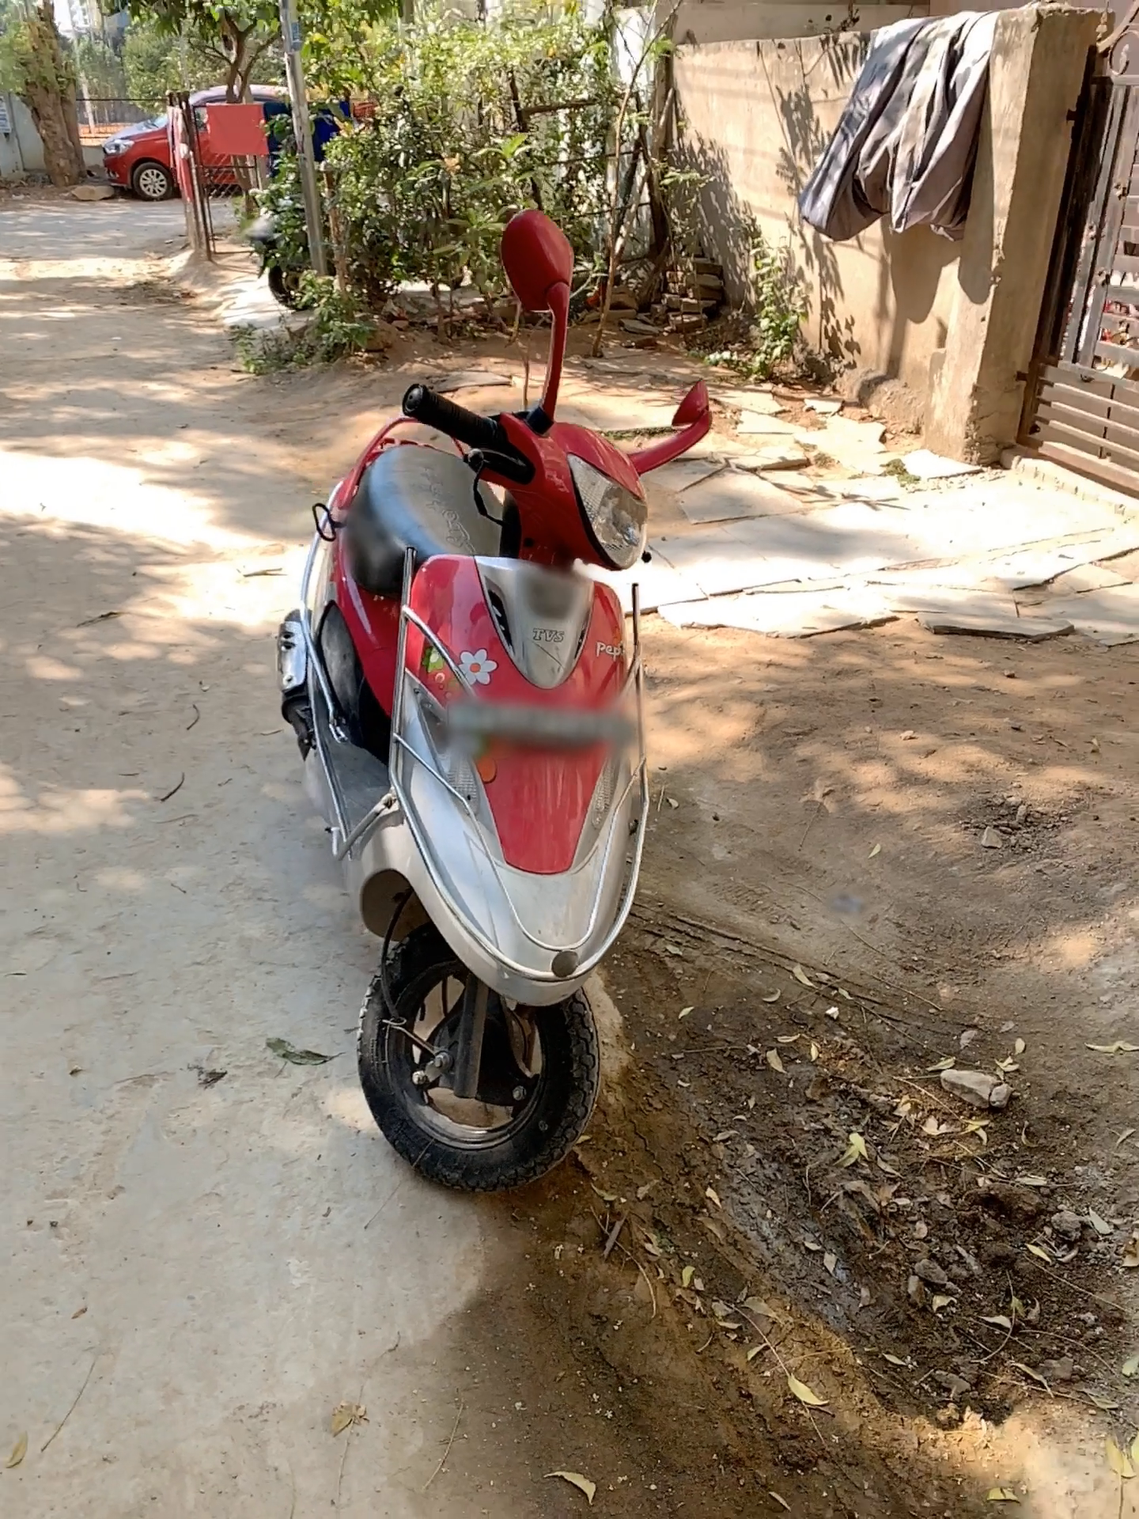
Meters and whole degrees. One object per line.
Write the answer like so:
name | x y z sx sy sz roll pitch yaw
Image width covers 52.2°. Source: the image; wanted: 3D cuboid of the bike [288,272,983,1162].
bike | -0.065 -0.236 2.057 0.484 1.037 1.500 -11 30 -18
